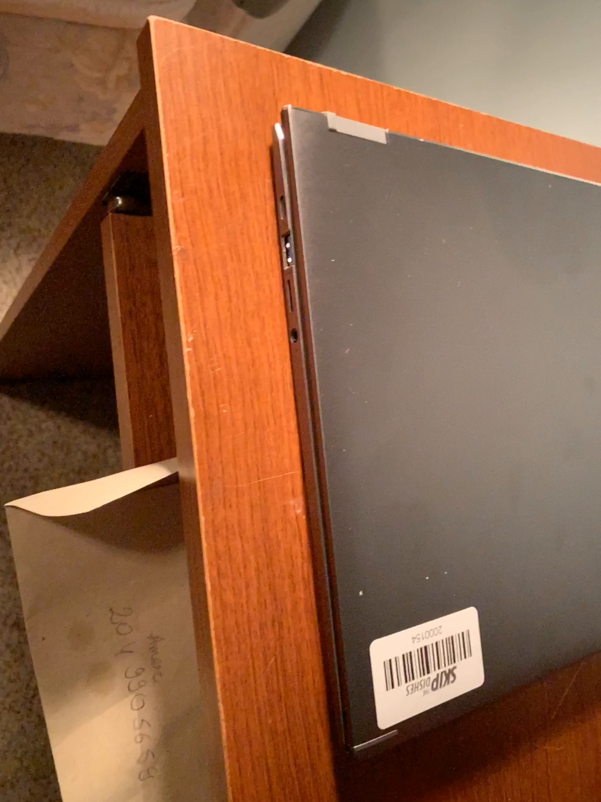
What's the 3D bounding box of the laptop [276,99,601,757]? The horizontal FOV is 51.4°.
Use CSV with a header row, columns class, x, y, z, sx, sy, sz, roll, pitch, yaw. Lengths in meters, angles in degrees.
class,x,y,z,sx,sy,sz,roll,pitch,yaw
laptop,0.128,-0.001,0.305,0.301,0.002,0.232,-3,85,-34
